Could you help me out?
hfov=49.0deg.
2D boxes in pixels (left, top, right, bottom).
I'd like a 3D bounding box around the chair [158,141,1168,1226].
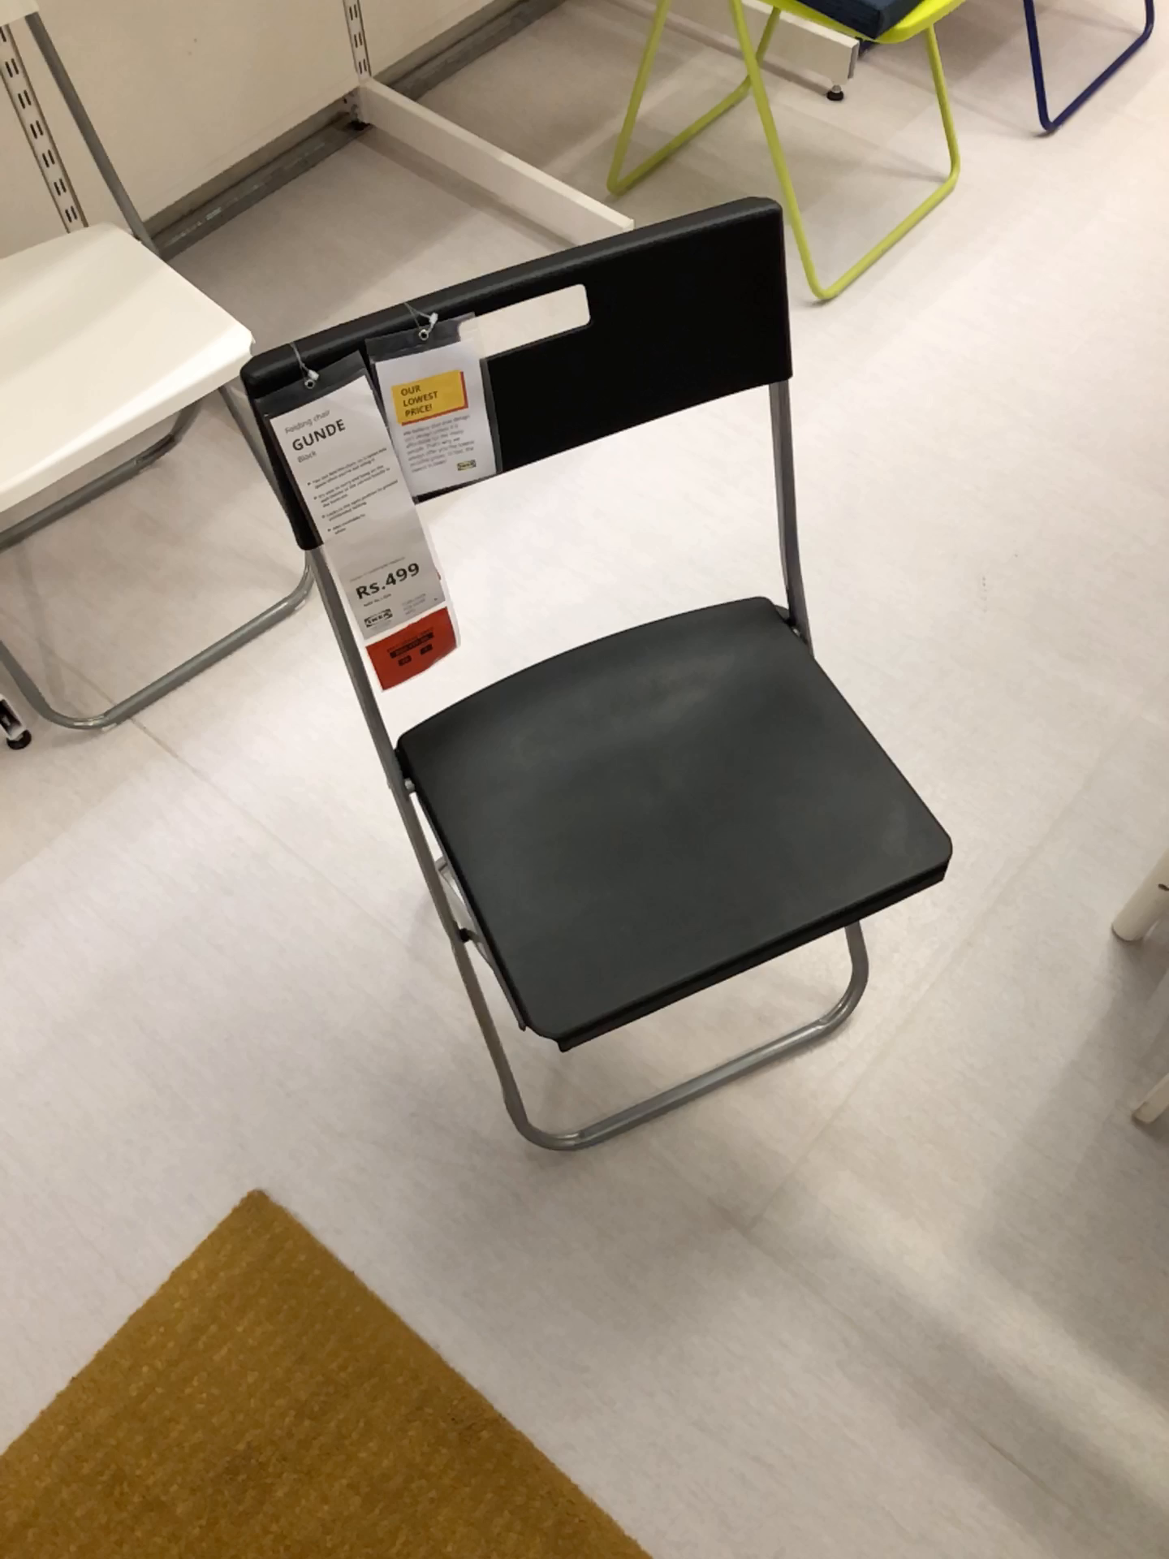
[{"bbox_3d":[0.042,-0.013,1.154,0.500,0.786,0.462,-23,61,-12],"label":"chair"}]
